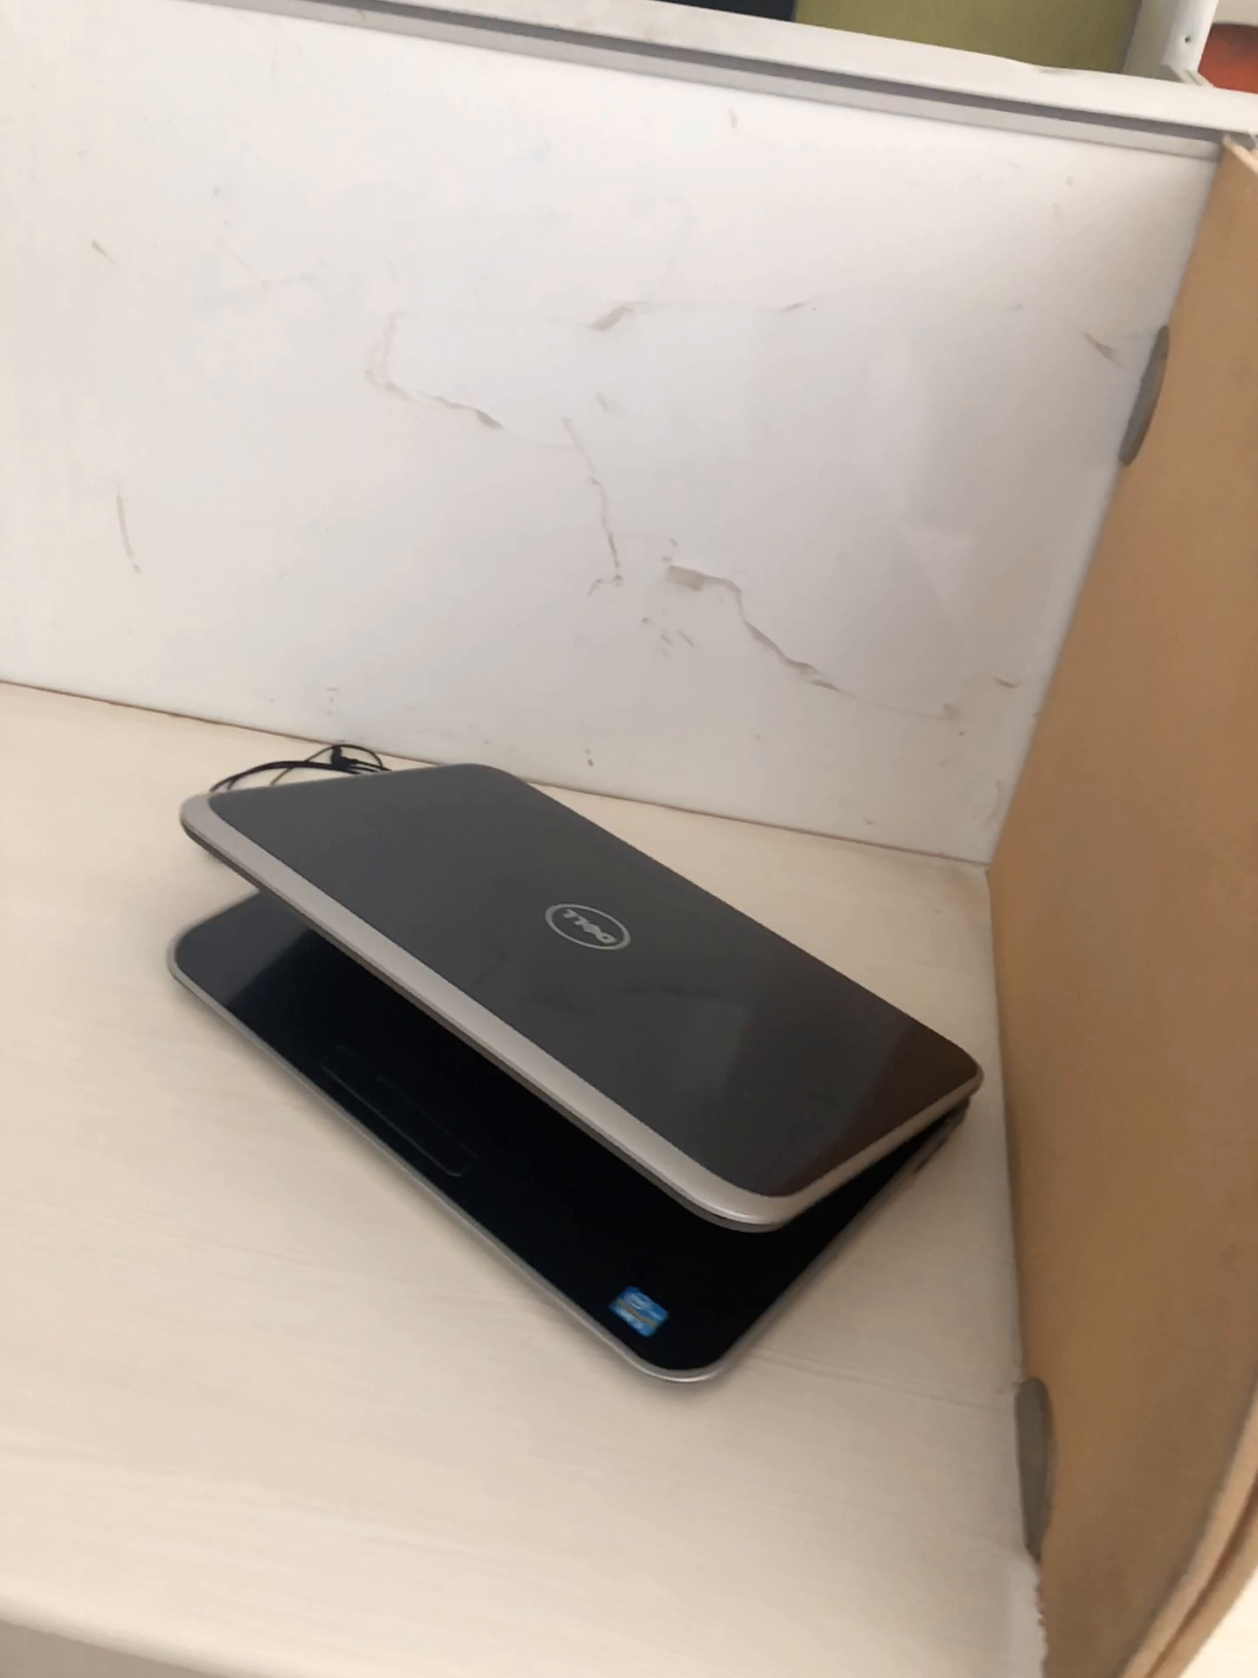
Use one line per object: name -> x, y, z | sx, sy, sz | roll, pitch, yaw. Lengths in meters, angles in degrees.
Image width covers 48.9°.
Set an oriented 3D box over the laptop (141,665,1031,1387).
laptop -> -0.028, 0.057, 0.687 | 0.357, 0.094, 0.239 | 31, 40, 29
